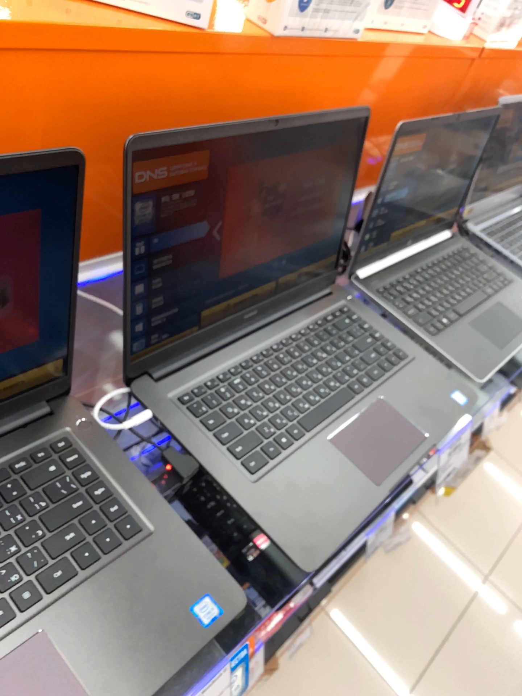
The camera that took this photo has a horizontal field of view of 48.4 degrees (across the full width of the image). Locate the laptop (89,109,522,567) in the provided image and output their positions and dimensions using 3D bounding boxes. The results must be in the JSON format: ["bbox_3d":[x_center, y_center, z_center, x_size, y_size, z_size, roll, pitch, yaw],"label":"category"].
[{"bbox_3d":[0.079,-0.047,0.559,0.287,0.212,0.340,42,43,19],"label":"laptop"}]

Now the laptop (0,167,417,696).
[{"bbox_3d":[-0.175,0.092,0.279,0.241,0.230,0.357,40,43,20],"label":"laptop"}]

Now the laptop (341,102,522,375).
[{"bbox_3d":[0.318,-0.165,0.794,0.270,0.195,0.243,-26,61,-38],"label":"laptop"}]
